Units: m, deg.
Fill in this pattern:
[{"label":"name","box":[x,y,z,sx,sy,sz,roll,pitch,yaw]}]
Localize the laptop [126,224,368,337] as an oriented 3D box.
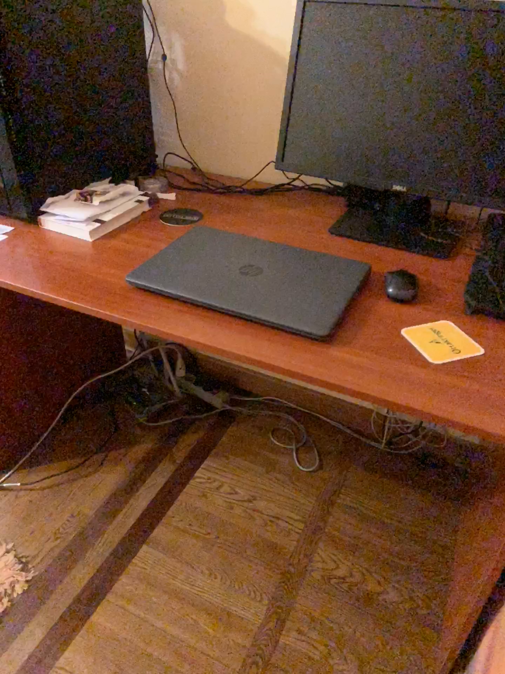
[{"label":"laptop","box":[-0.005,-0.119,0.917,0.369,0.005,0.248,17,39,22]}]
